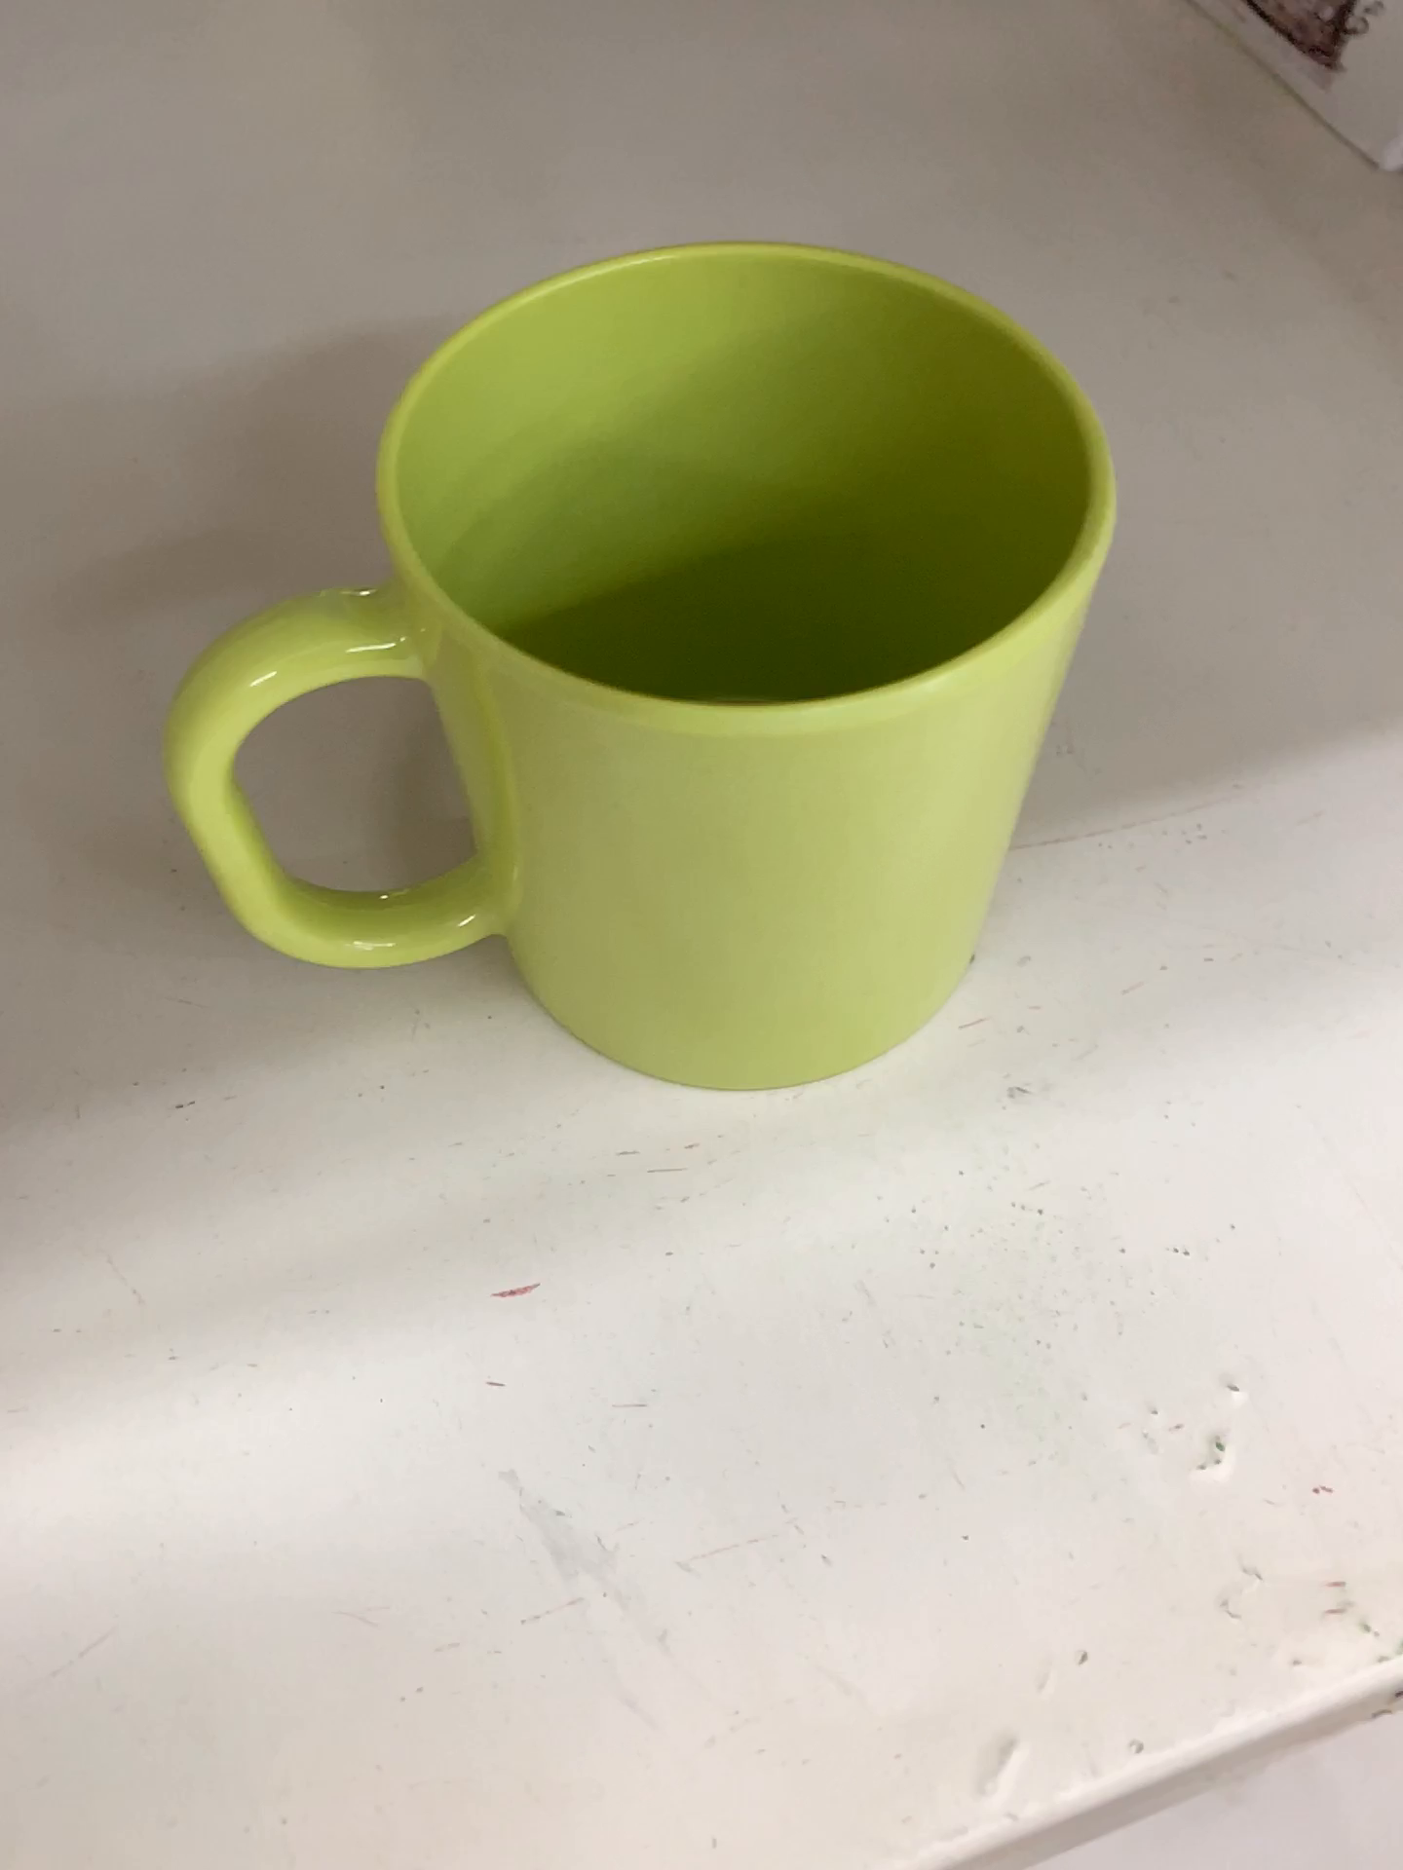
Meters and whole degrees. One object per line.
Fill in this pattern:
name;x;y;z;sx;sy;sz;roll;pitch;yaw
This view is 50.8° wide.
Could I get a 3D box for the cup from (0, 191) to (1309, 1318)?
cup;-0.008;-0.019;0.159;0.100;0.070;0.070;-16;56;-9
